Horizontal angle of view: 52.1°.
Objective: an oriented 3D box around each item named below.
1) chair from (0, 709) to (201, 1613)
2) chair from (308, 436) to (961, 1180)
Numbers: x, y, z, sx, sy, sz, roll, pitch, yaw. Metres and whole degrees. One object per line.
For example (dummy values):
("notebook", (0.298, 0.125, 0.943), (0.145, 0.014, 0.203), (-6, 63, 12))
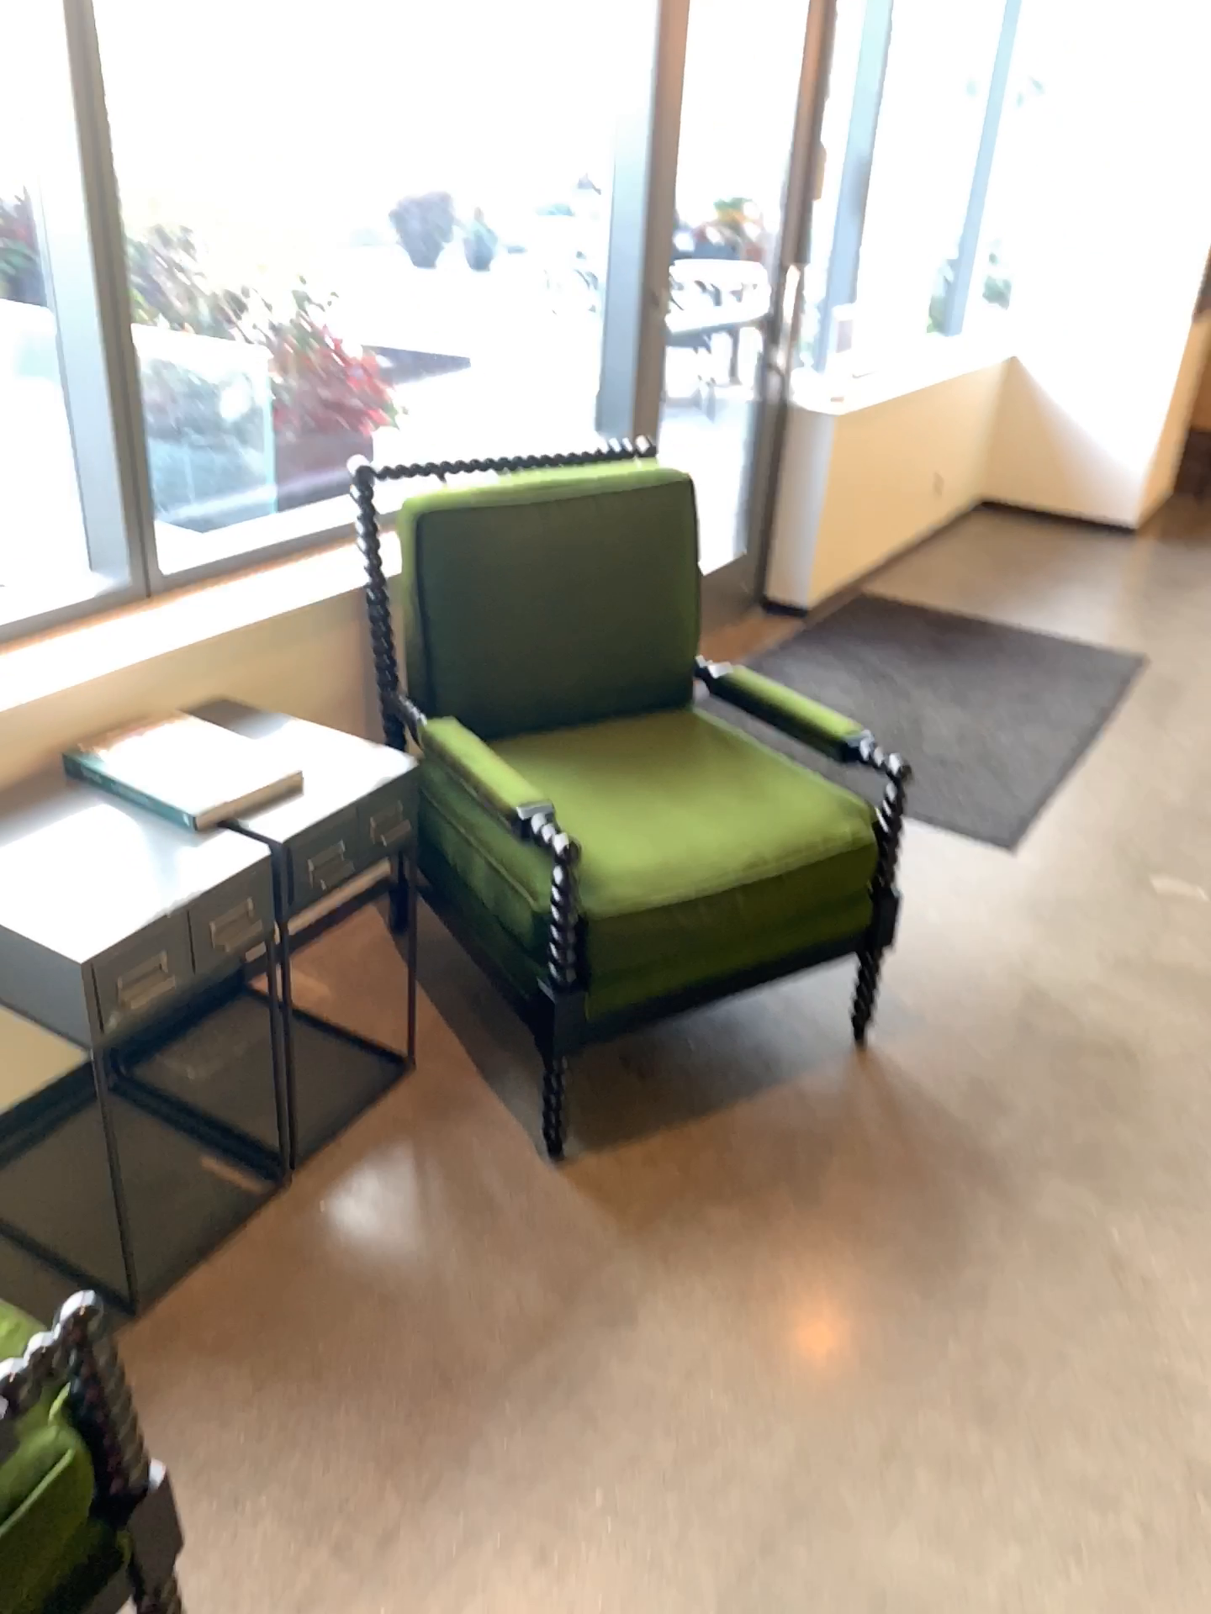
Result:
("chair", (-0.949, 0.617, 0.912), (0.731, 0.974, 0.924), (16, 30, 21))
("chair", (-0.023, -0.086, 2.366), (0.761, 0.984, 0.925), (-13, 32, -28))
